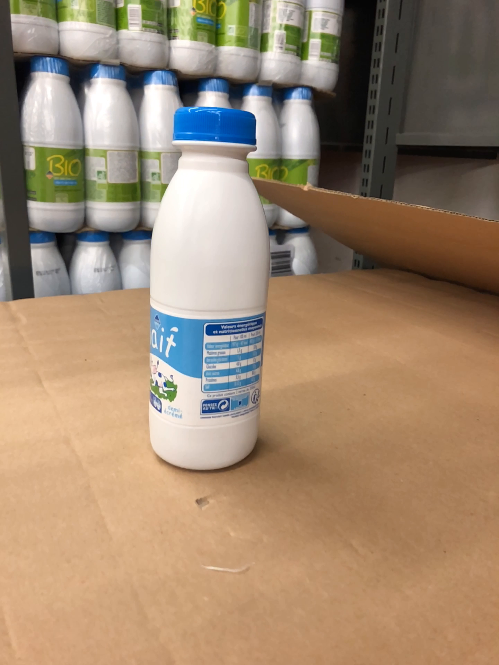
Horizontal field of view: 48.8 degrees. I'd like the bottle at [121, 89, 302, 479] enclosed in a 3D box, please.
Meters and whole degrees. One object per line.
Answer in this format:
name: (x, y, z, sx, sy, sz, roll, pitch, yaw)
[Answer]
bottle: (-0.025, -0.027, 0.307, 0.070, 0.189, 0.070, 2, 17, -1)
